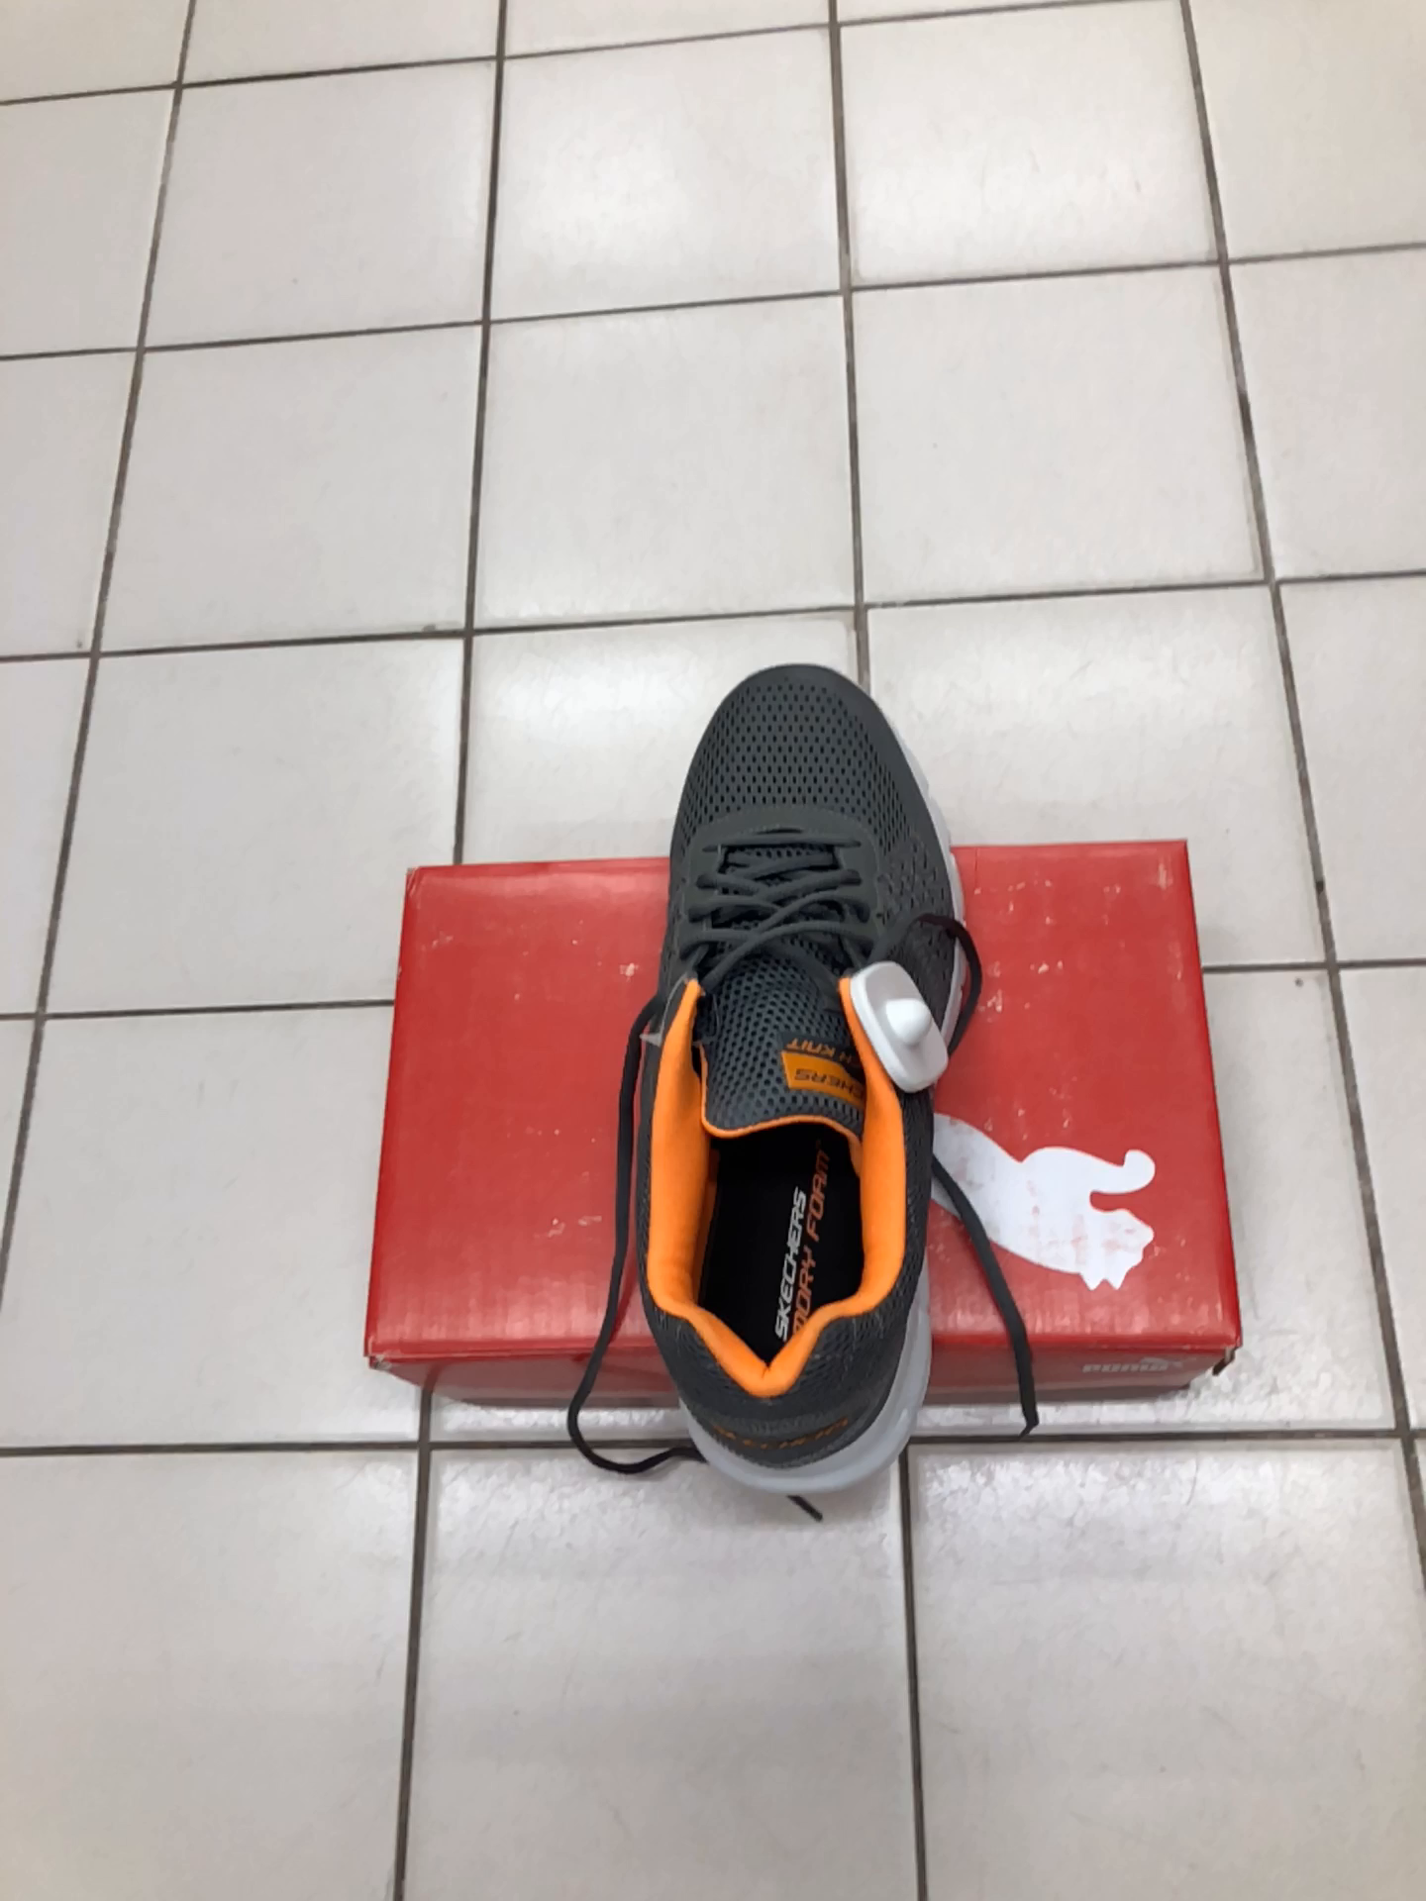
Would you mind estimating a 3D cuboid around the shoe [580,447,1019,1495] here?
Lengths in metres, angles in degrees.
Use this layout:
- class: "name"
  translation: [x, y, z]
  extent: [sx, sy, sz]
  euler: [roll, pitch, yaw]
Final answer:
- class: "shoe"
  translation: [0.029, 0.012, 0.514]
  extent: [0.110, 0.140, 0.311]
  euler: [-2, 69, 6]
